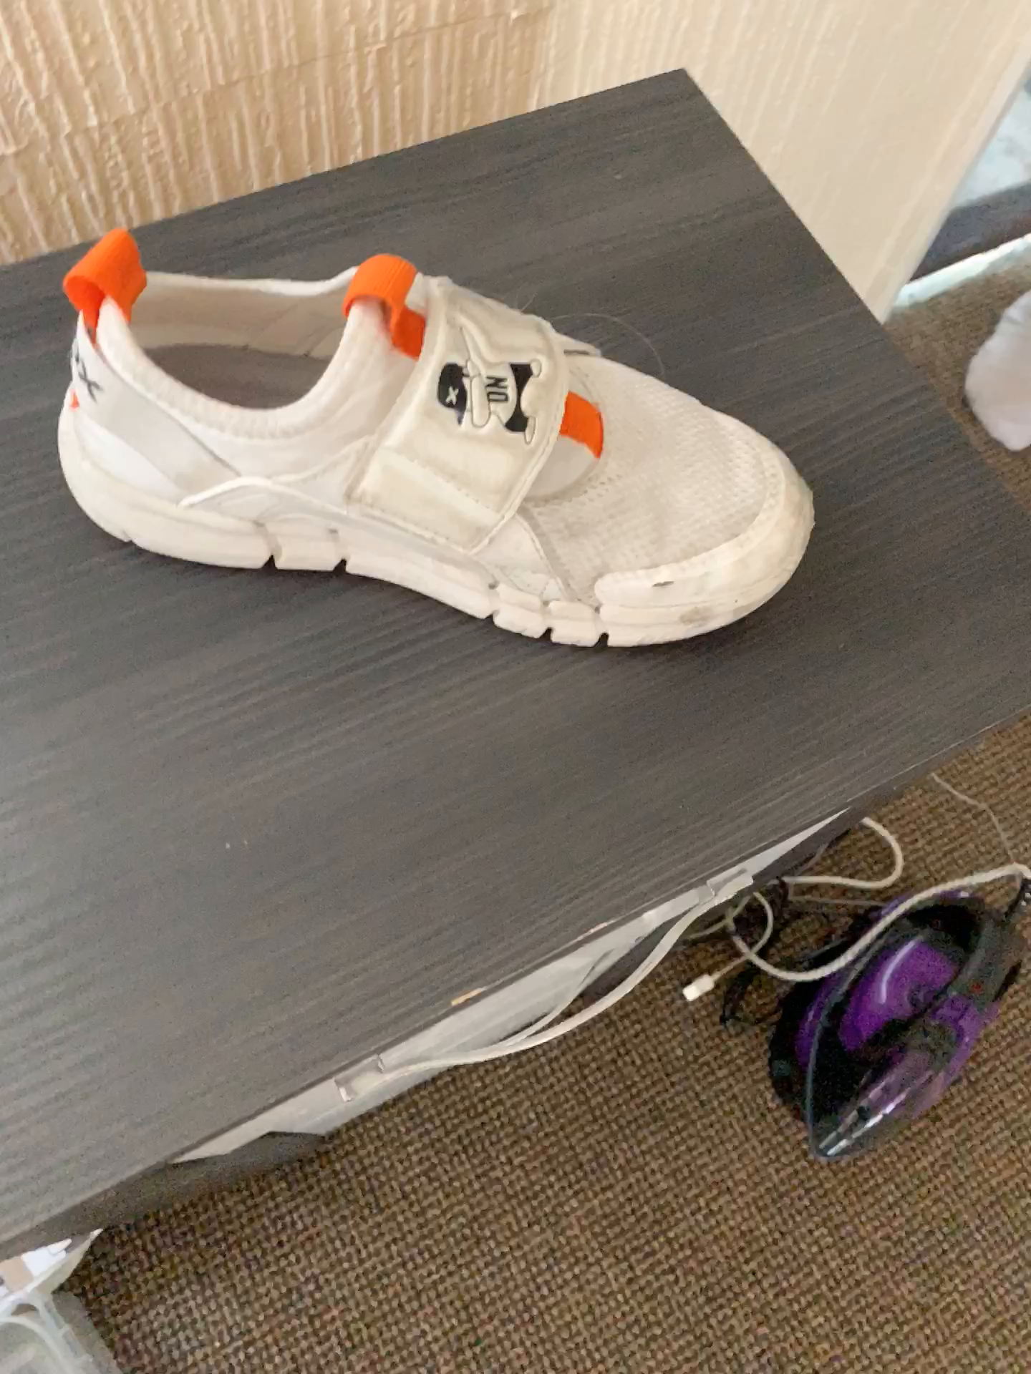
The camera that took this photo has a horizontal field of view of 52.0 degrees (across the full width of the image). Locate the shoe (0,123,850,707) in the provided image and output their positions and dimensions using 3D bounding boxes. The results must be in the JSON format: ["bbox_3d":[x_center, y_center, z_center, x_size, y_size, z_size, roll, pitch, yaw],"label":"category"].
[{"bbox_3d":[-0.027,-0.076,0.308,0.222,0.070,0.100,12,66,0],"label":"shoe"}]
